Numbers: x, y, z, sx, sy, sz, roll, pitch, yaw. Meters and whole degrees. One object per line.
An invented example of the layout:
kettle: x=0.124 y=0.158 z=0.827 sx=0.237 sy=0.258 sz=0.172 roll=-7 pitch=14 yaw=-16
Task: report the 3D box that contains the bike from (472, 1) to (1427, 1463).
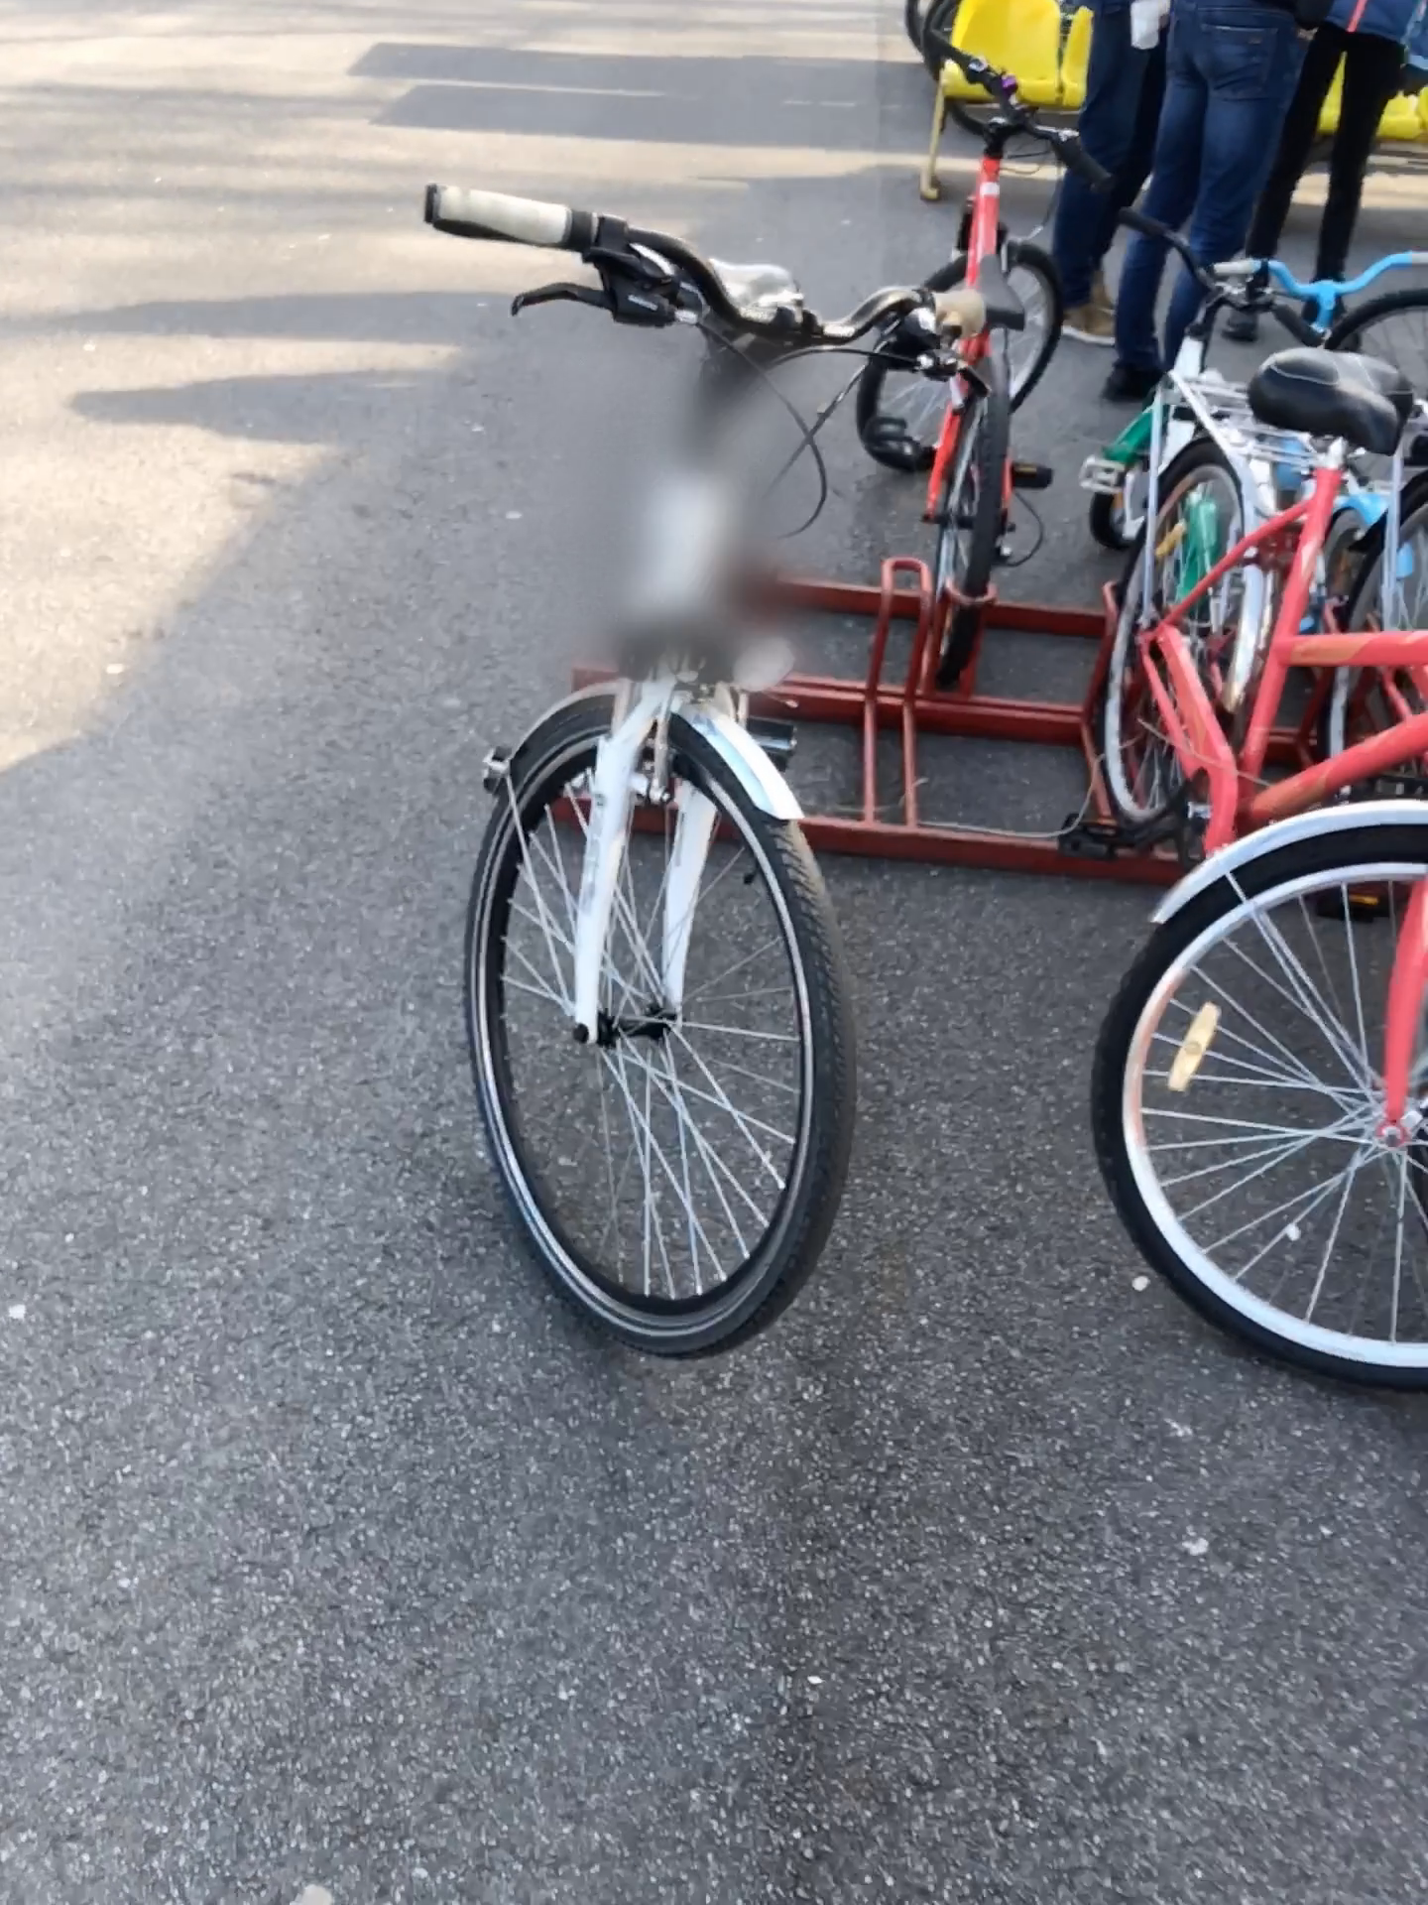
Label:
bike: x=0.086 y=-0.437 z=1.973 sx=0.644 sy=1.112 sz=1.707 roll=-1 pitch=37 yaw=-4
